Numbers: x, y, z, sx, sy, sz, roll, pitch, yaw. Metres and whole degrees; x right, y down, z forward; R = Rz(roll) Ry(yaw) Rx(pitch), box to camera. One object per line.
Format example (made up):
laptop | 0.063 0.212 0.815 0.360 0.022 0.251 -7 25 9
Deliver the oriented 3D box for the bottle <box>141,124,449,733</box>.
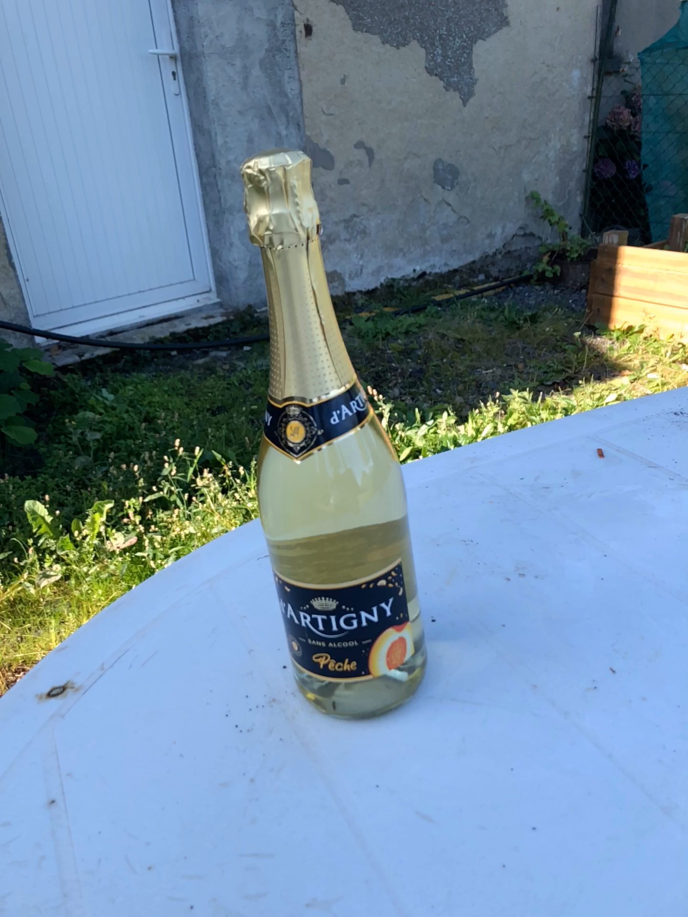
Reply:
bottle | -0.009 -0.008 0.401 0.090 0.298 0.091 -6 25 3
